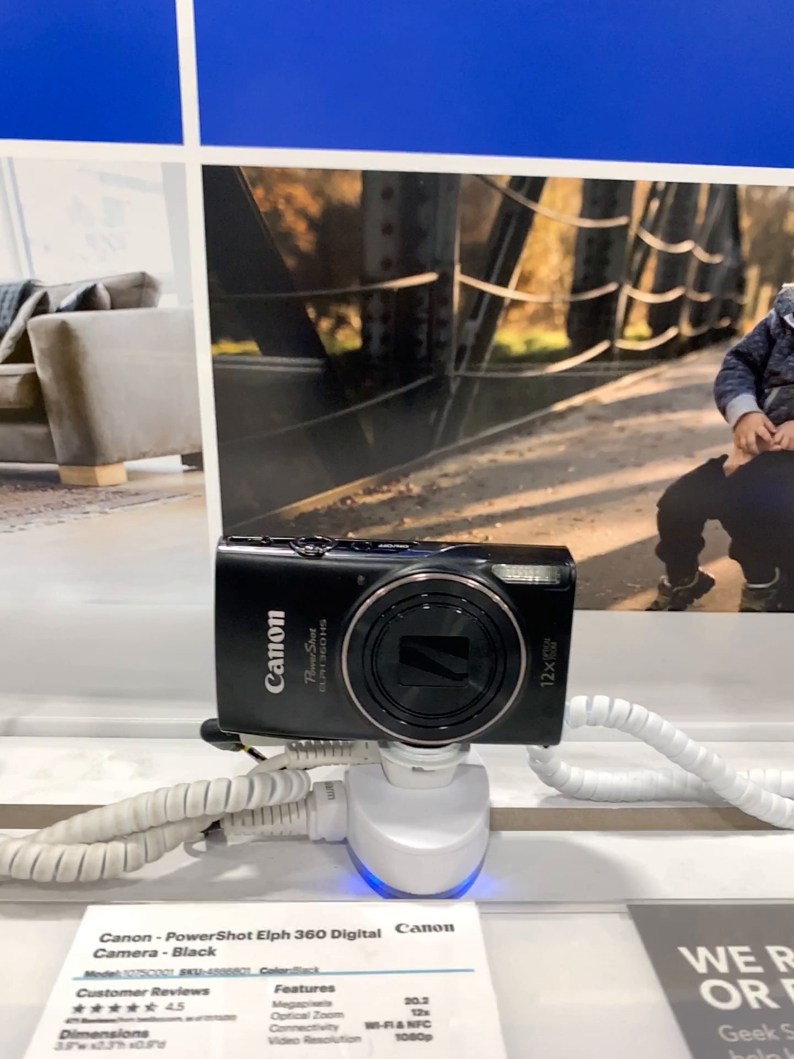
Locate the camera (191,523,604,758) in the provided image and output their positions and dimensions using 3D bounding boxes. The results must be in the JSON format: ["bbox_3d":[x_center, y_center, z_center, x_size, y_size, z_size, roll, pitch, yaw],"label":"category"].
[{"bbox_3d":[-0.001,0.030,0.231,0.106,0.056,0.027,2,14,-3],"label":"camera"}]
